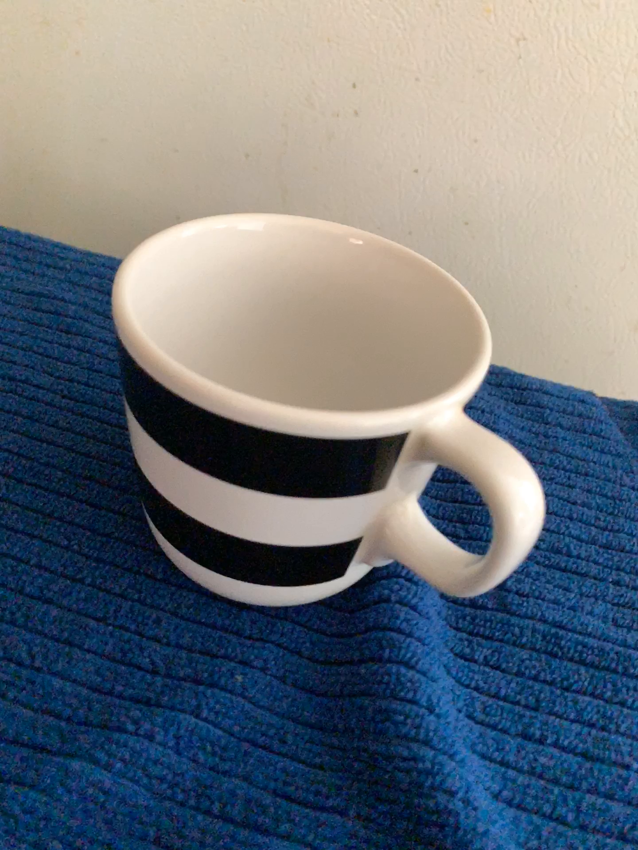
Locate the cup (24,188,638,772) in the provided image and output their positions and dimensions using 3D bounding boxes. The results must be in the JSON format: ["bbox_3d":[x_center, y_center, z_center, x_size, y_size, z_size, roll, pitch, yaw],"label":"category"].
[{"bbox_3d":[0.000,-0.002,0.162,0.085,0.057,0.113,-27,52,-35],"label":"cup"}]
